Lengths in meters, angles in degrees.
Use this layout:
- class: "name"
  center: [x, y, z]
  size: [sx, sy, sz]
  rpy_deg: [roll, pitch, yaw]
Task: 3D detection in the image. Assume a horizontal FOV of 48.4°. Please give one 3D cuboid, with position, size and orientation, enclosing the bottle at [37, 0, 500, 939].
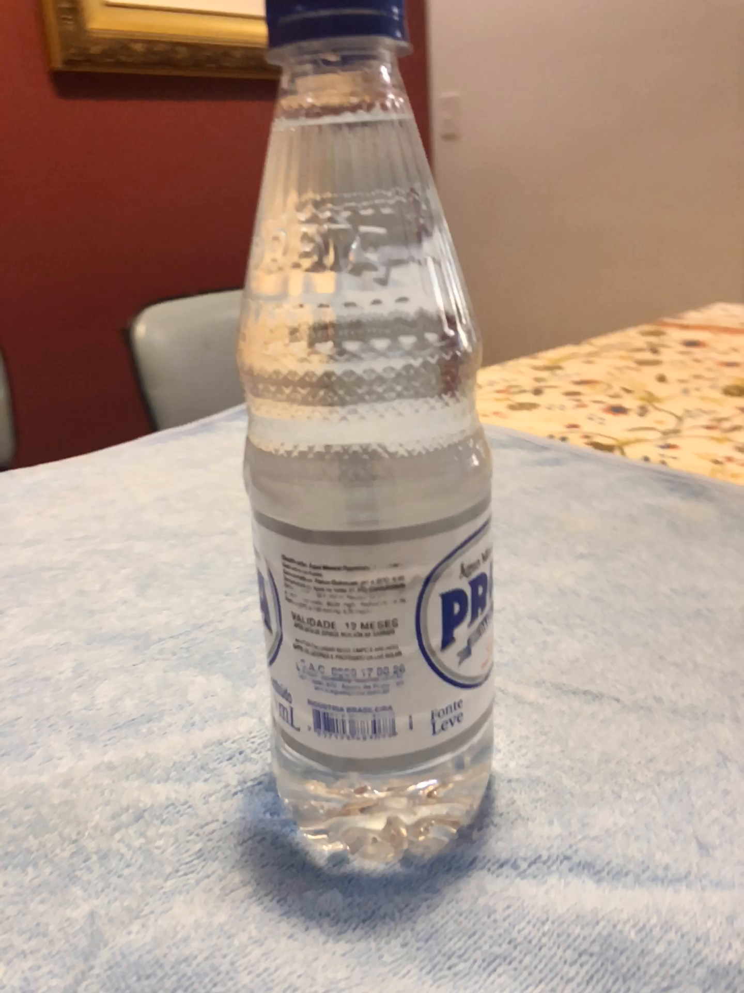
- class: "bottle"
  center: [-0.008, -0.010, 0.211]
  size: [0.070, 0.219, 0.080]
  rpy_deg: [2, 21, 16]
